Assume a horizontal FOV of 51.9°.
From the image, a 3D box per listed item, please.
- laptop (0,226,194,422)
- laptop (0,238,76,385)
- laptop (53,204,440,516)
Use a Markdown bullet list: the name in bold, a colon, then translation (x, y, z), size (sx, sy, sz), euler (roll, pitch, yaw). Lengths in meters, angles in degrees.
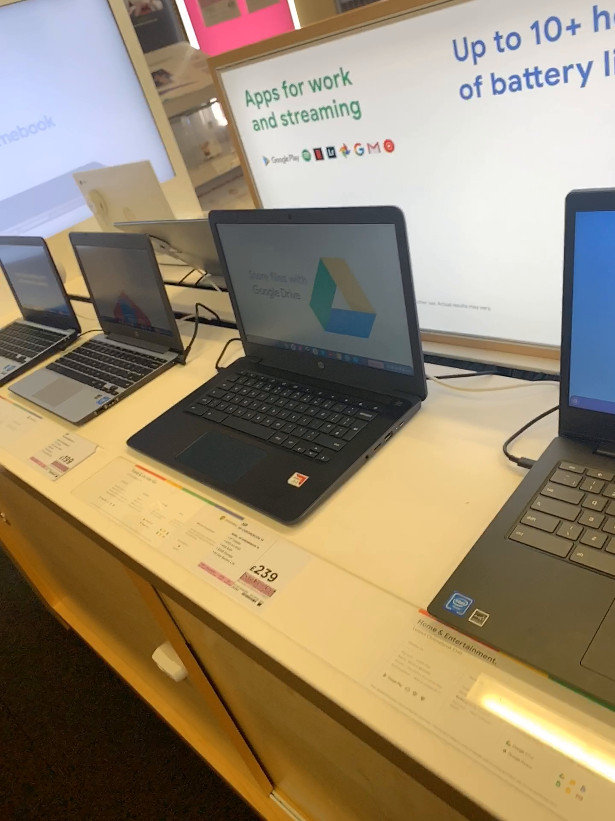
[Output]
- **laptop**: translation (-0.387, -0.158, 1.033), size (0.272, 0.186, 0.242), euler (15, 46, 43)
- **laptop**: translation (-0.659, -0.210, 1.269), size (0.191, 0.189, 0.335), euler (-40, 35, -29)
- **laptop**: translation (-0.073, -0.083, 0.736), size (0.333, 0.209, 0.245), euler (16, 46, 45)
